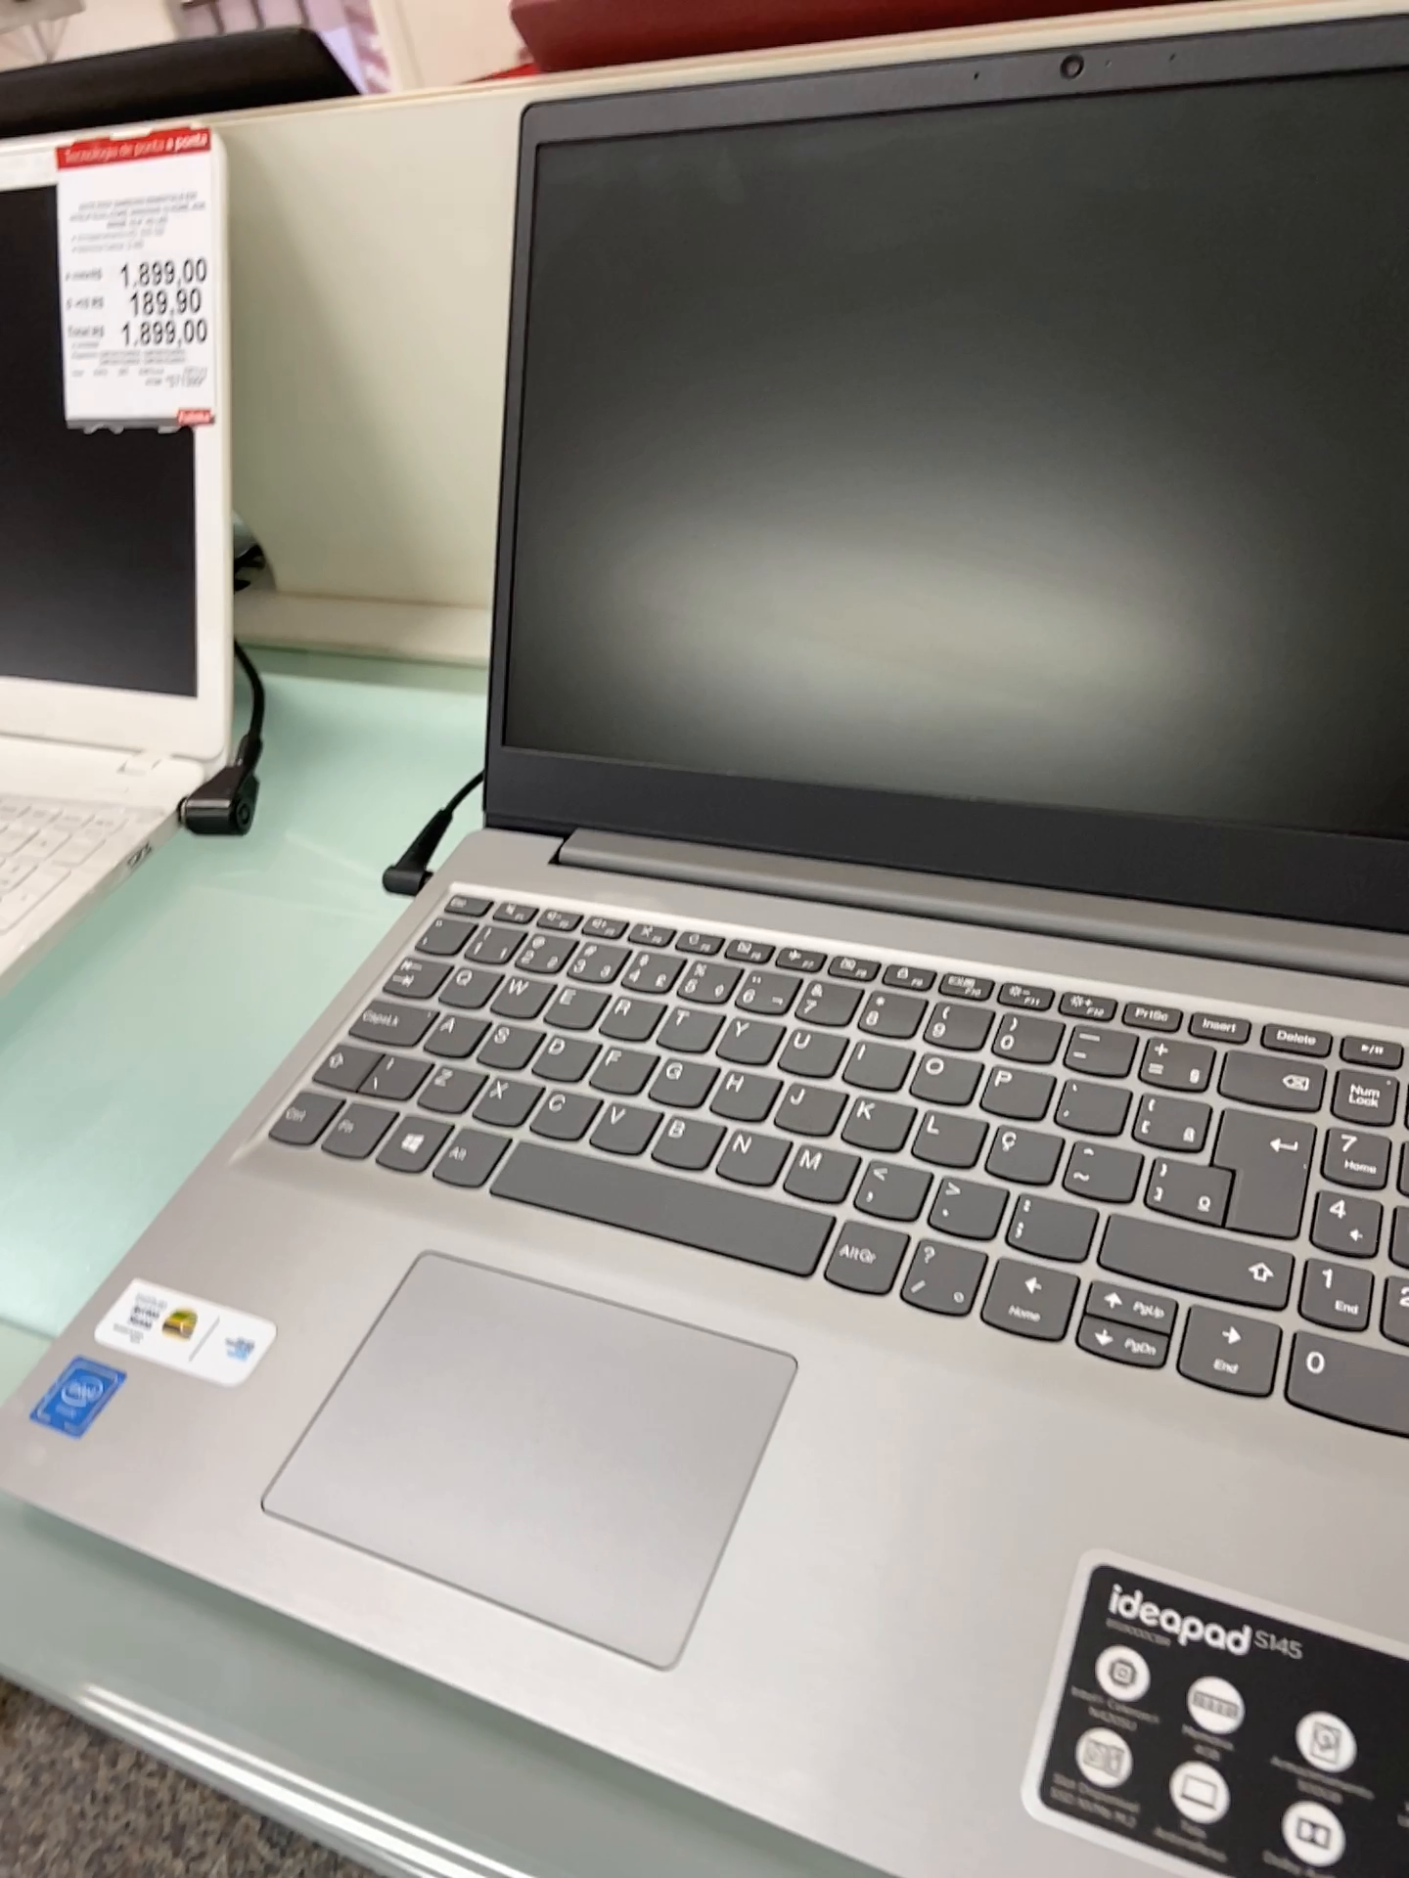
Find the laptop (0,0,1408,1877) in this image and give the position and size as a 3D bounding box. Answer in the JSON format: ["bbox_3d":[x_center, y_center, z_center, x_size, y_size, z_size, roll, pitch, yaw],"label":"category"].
[{"bbox_3d":[0.042,-0.051,0.341,0.367,0.189,0.403,8,46,25],"label":"laptop"}]
